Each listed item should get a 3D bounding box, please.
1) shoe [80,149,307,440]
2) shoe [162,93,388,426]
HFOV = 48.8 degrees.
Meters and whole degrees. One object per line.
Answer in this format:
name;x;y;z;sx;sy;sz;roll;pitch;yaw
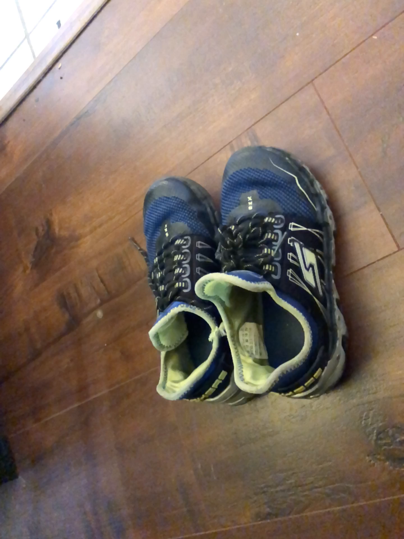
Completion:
shoe;-0.008;0.022;0.403;0.100;0.119;0.210;-26;73;32
shoe;0.059;0.000;0.351;0.100;0.119;0.210;-14;80;35
